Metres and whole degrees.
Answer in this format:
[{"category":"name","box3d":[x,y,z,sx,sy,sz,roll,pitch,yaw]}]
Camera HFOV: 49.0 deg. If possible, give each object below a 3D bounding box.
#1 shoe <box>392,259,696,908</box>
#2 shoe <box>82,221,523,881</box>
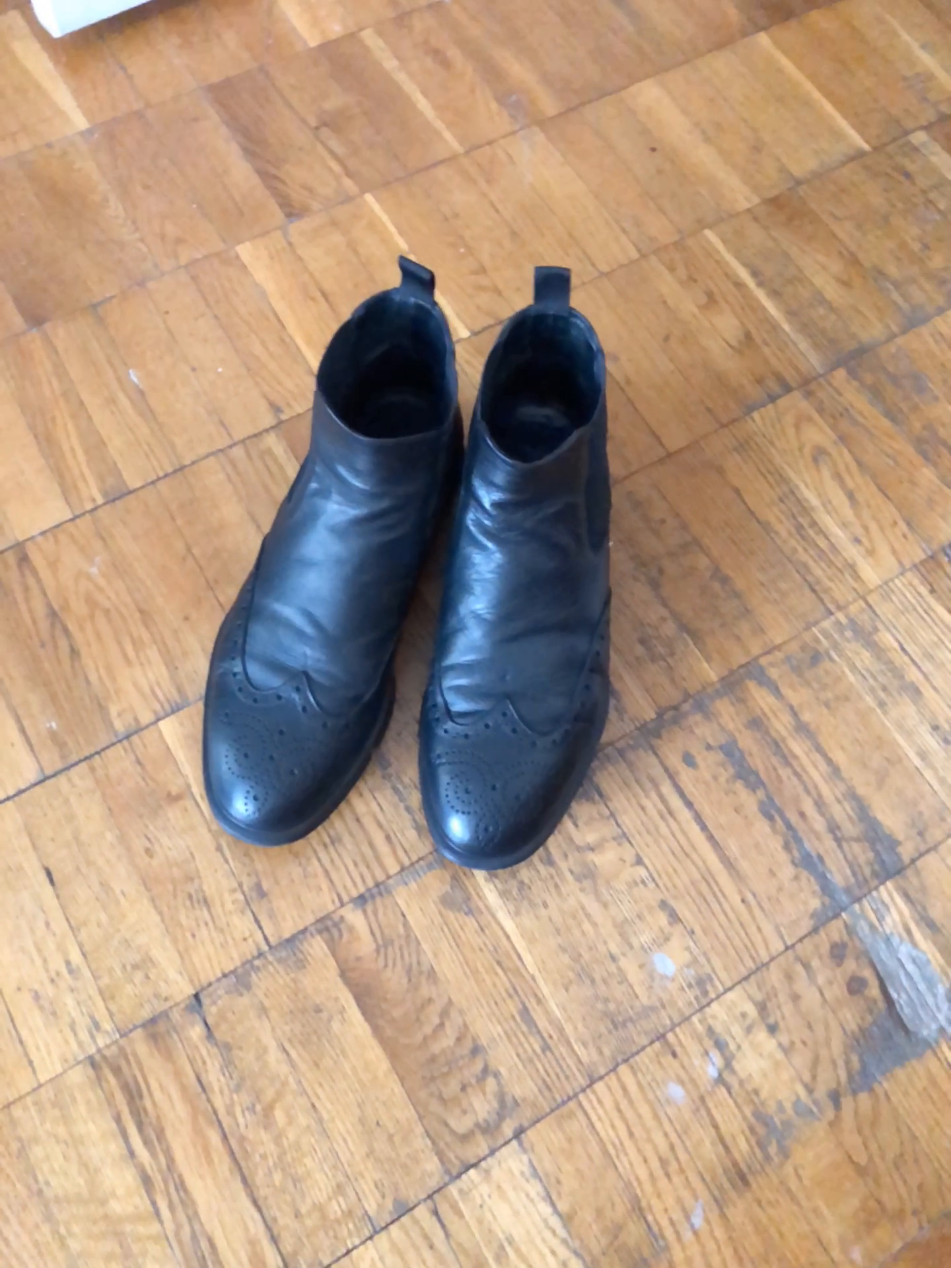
[{"category":"shoe","box3d":[0.036,-0.025,0.554,0.110,0.140,0.301,9,67,0]},{"category":"shoe","box3d":[-0.074,-0.042,0.552,0.110,0.140,0.301,16,68,3]}]
